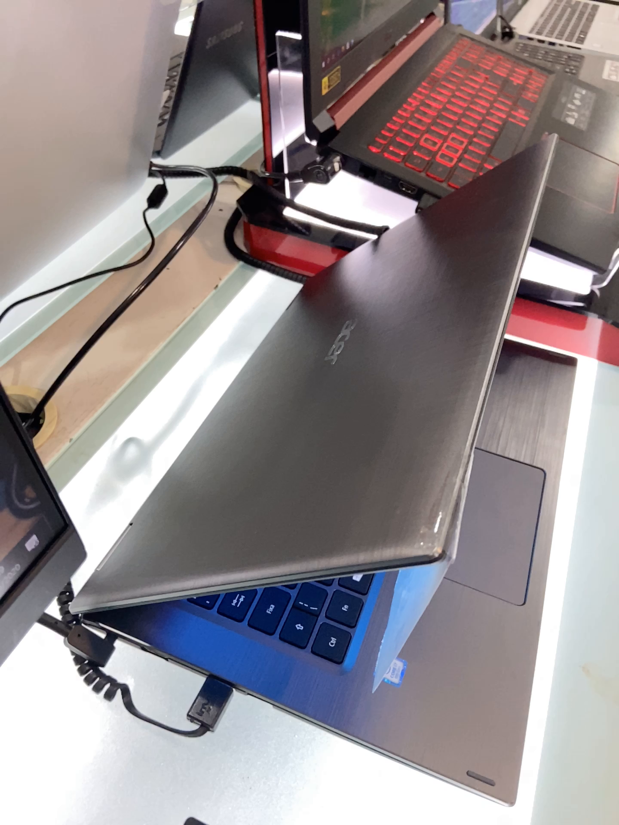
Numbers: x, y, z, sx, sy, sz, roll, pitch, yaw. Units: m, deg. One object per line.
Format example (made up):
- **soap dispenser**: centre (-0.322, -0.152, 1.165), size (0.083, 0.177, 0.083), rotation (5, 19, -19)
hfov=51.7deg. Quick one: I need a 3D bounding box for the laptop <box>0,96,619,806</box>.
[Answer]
- **laptop**: centre (0.049, -0.023, 0.357), size (0.218, 0.154, 0.330), rotation (18, 46, 12)
